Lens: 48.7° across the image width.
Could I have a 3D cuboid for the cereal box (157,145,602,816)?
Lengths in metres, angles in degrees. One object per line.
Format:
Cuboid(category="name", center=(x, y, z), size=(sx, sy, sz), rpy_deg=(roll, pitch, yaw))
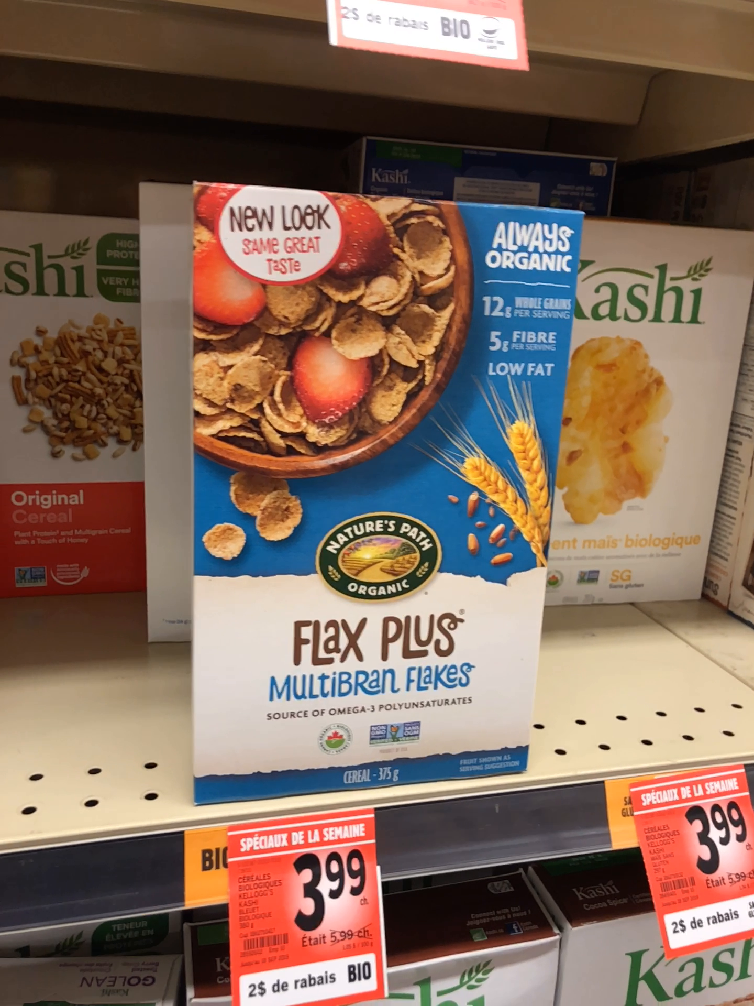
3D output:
Cuboid(category="cereal box", center=(-0.009, -0.006, 0.377), size=(0.170, 0.269, 0.070), rpy_deg=(-1, 16, -14))
